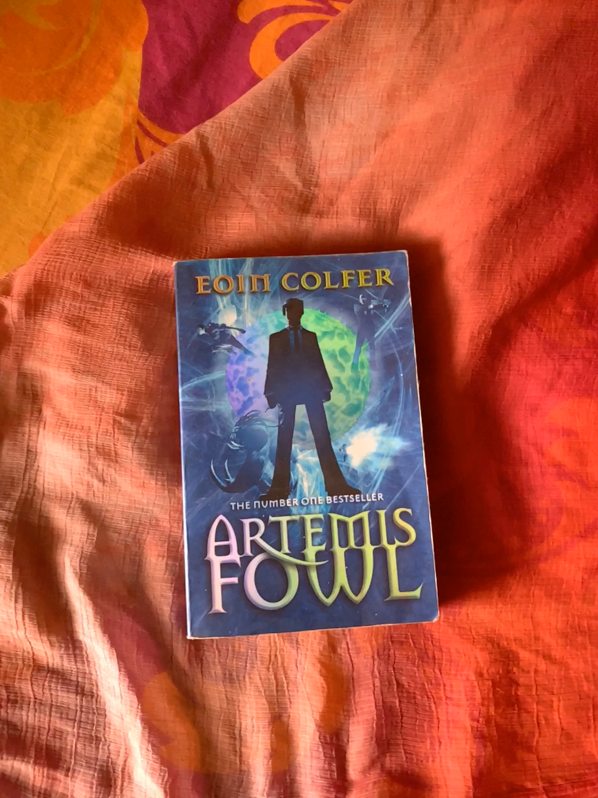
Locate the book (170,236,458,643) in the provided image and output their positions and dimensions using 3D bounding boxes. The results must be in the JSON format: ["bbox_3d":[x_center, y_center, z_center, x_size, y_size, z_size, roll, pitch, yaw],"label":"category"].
[{"bbox_3d":[0.006,0.018,0.315,0.130,0.030,0.190,-3,86,-1],"label":"book"}]
